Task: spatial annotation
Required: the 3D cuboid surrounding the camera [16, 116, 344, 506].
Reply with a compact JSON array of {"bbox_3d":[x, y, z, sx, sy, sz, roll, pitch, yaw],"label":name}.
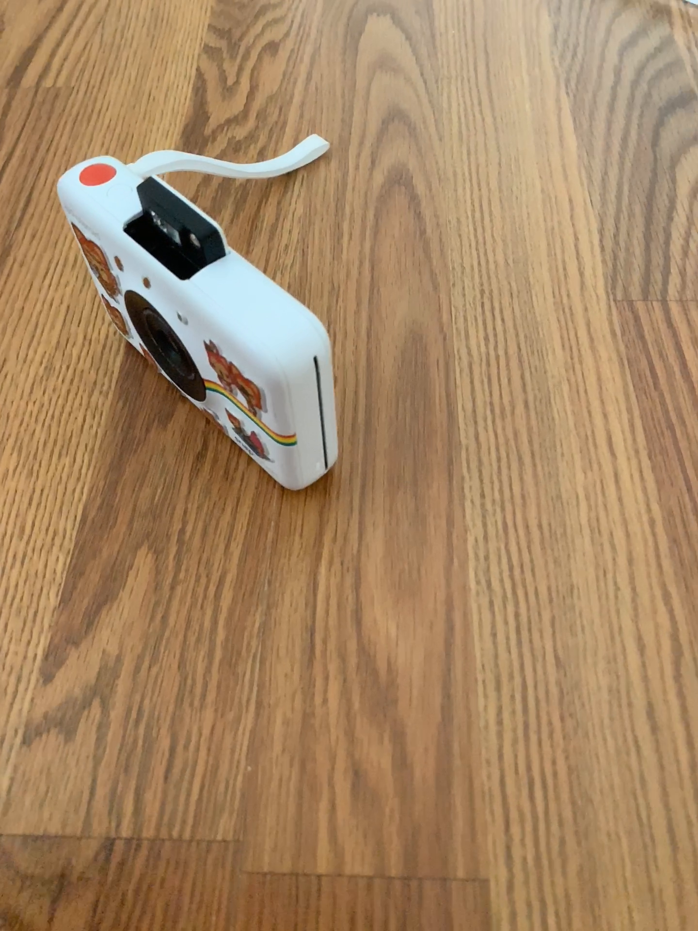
[{"bbox_3d":[-0.056,-0.053,0.250,0.026,0.081,0.126,-39,63,-20],"label":"camera"}]
